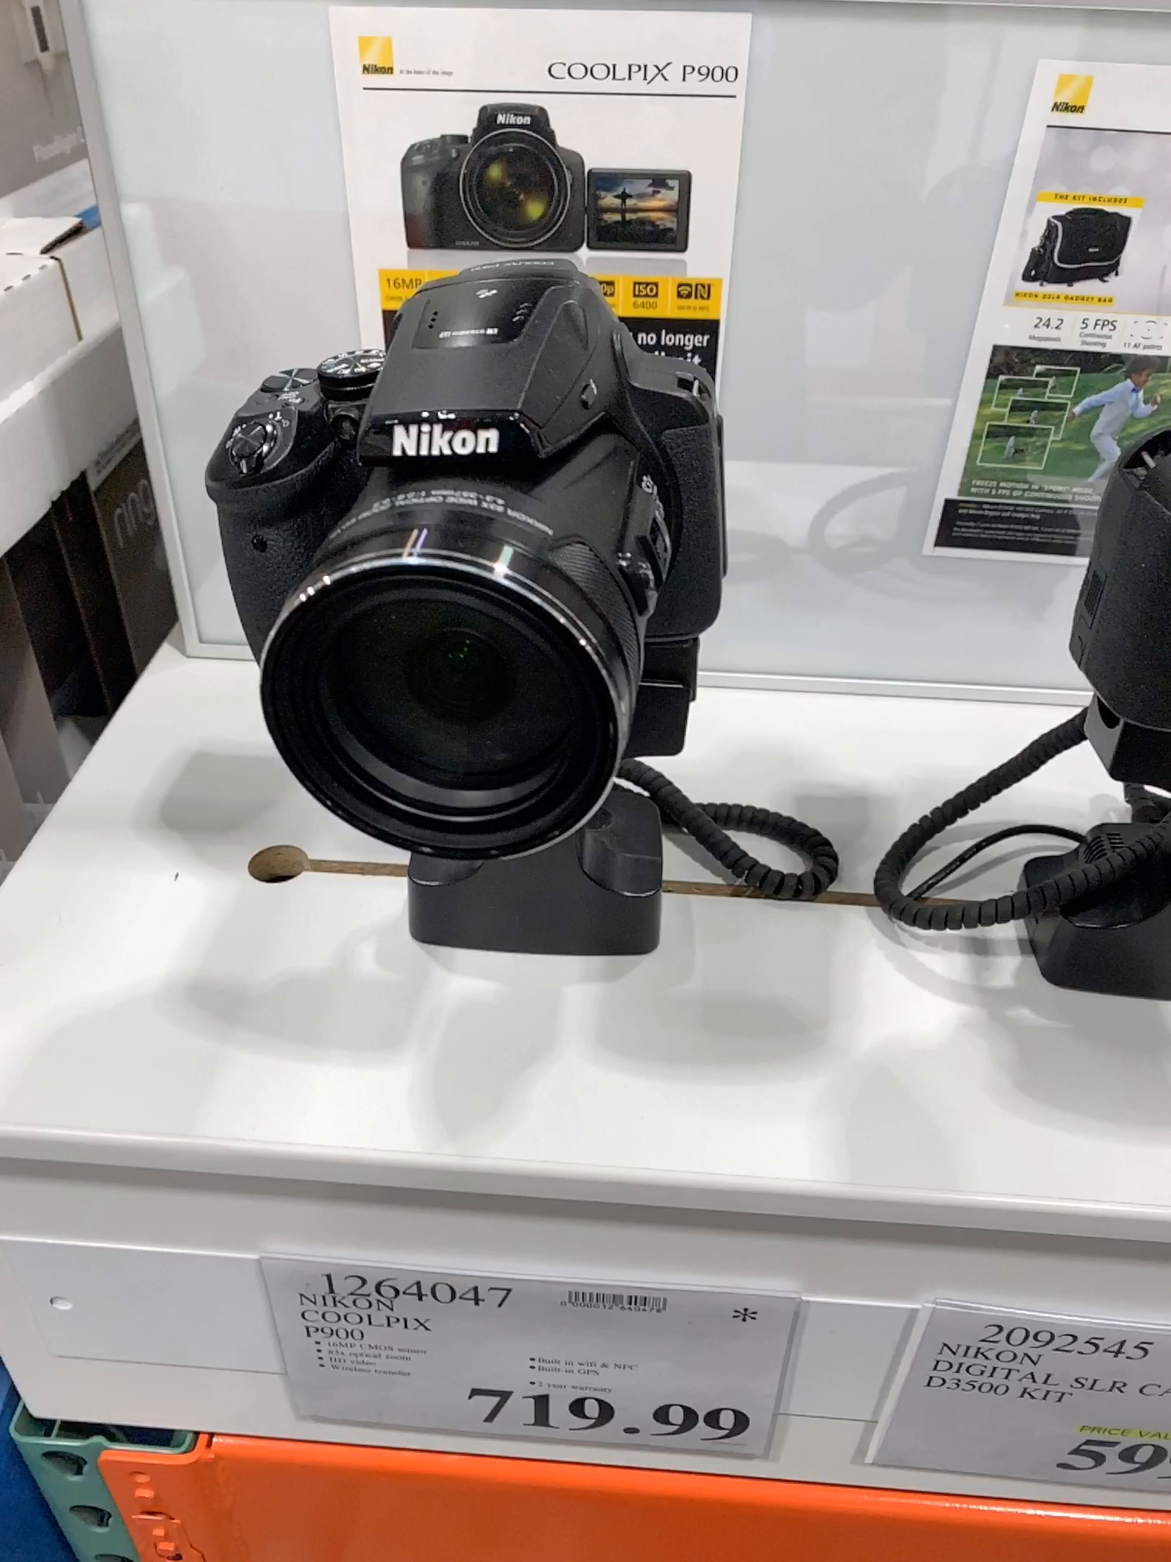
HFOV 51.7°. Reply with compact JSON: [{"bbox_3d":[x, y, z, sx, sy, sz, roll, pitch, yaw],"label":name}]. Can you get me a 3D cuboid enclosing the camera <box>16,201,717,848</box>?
[{"bbox_3d":[-0.034,-0.075,0.318,0.130,0.109,0.151,2,36,8],"label":"camera"}]
